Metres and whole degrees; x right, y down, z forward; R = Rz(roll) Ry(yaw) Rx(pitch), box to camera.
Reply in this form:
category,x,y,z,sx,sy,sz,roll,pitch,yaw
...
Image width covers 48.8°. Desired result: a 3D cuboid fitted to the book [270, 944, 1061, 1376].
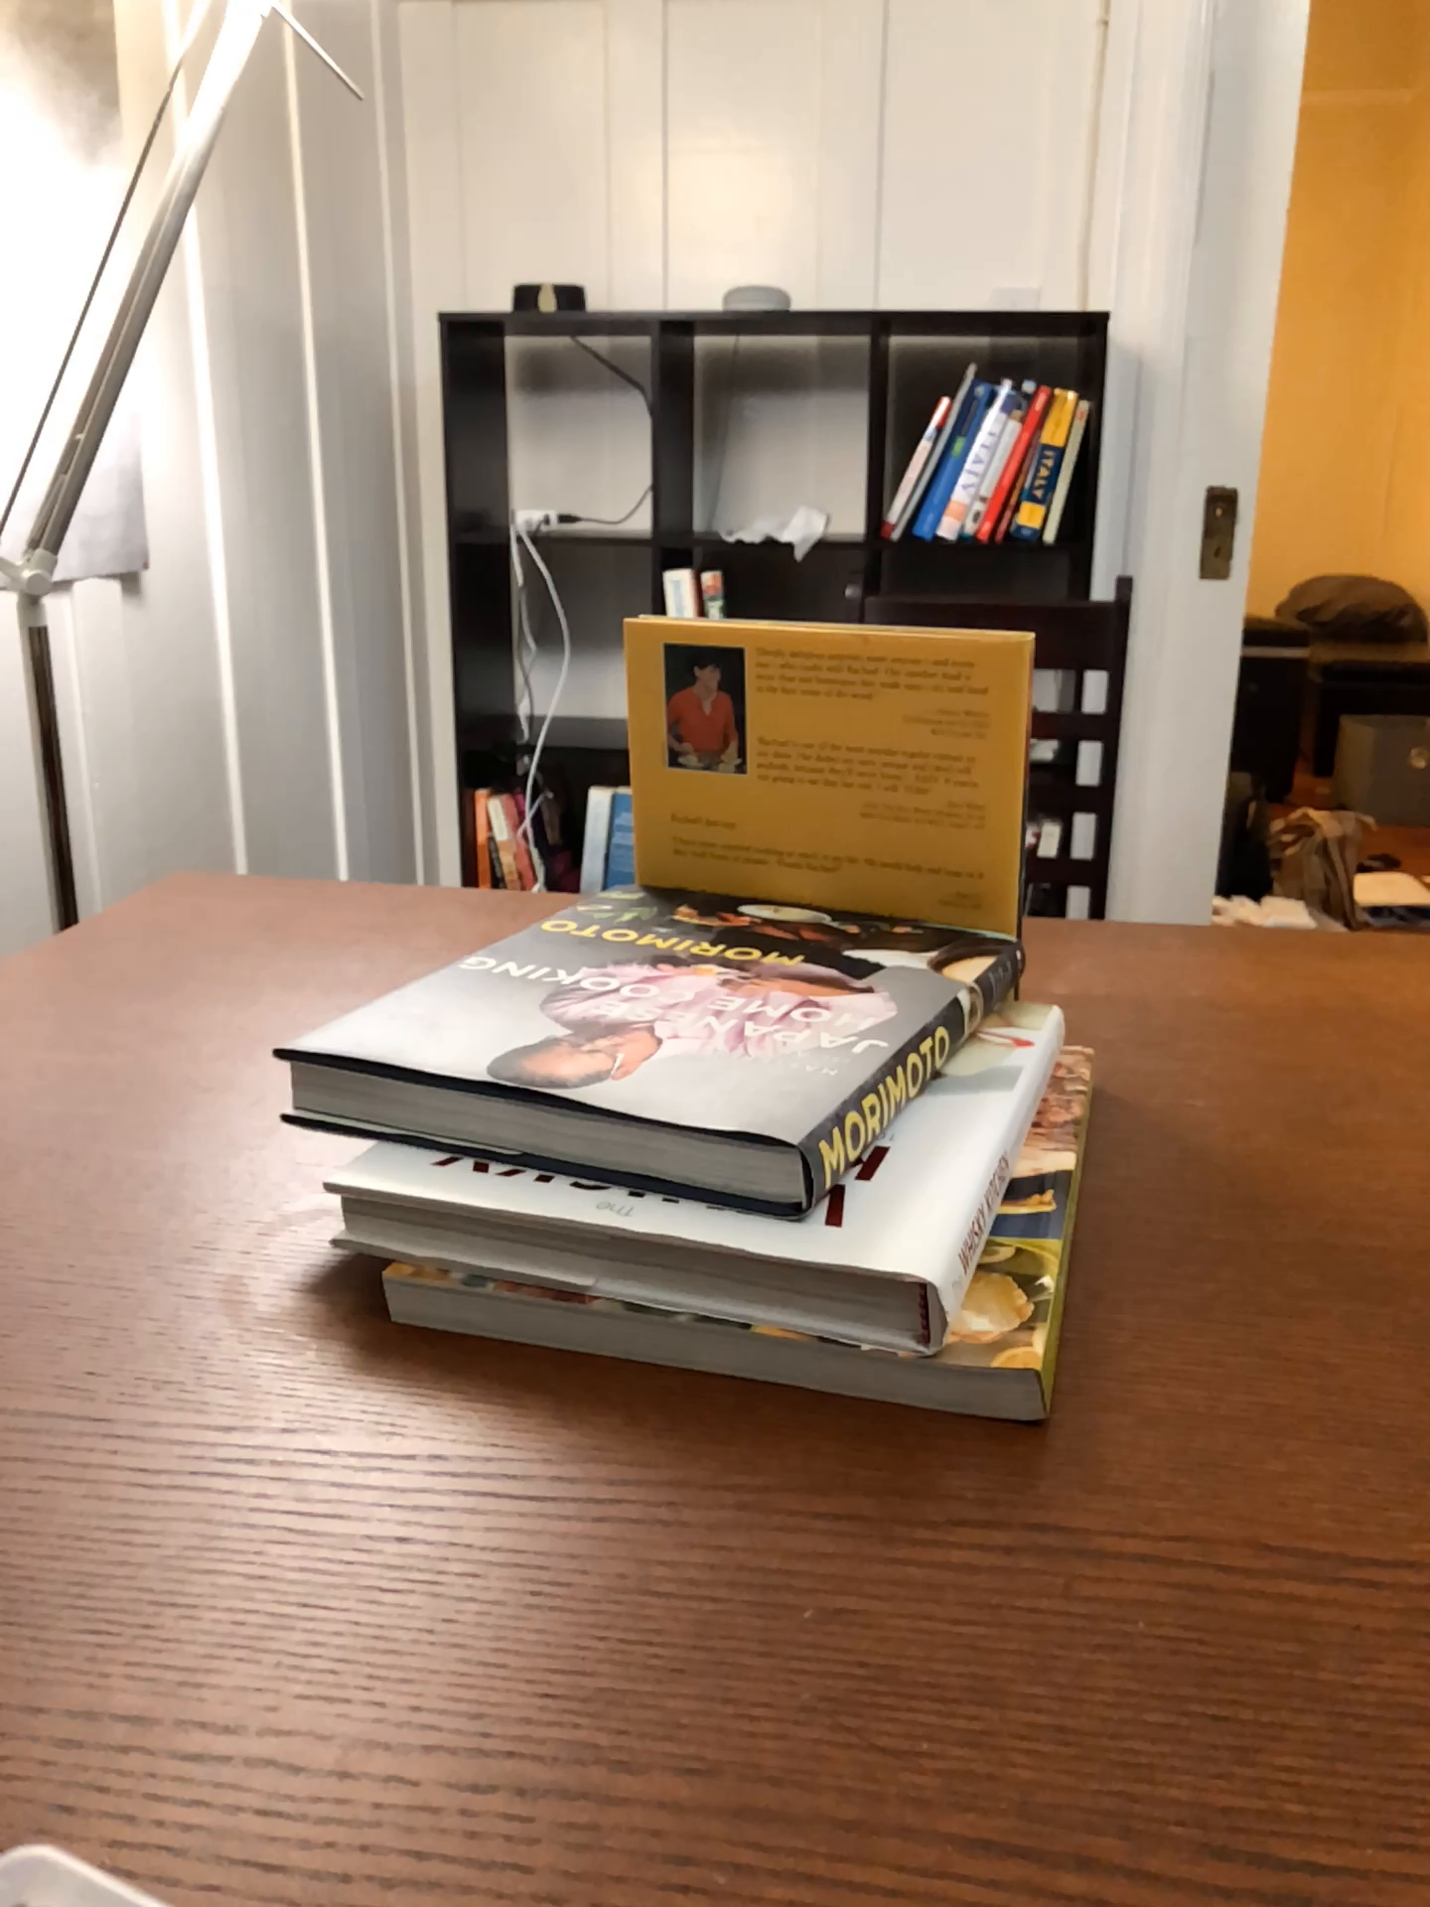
category,x,y,z,sx,sy,sz,roll,pitch,yaw
book,0.005,0.058,0.604,0.220,0.030,0.281,6,17,17

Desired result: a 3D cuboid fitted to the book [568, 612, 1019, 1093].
category,x,y,z,sx,sy,sz,roll,pitch,yaw
book,0.034,-0.052,0.751,0.210,0.209,0.030,7,20,24

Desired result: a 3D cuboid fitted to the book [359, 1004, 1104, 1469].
category,x,y,z,sx,sy,sz,roll,pitch,yaw
book,0.030,0.086,0.606,0.220,0.030,0.281,5,17,15

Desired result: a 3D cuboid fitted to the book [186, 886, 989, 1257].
category,x,y,z,sx,sy,sz,roll,pitch,yaw
book,-0.030,0.029,0.643,0.220,0.030,0.281,8,18,22
